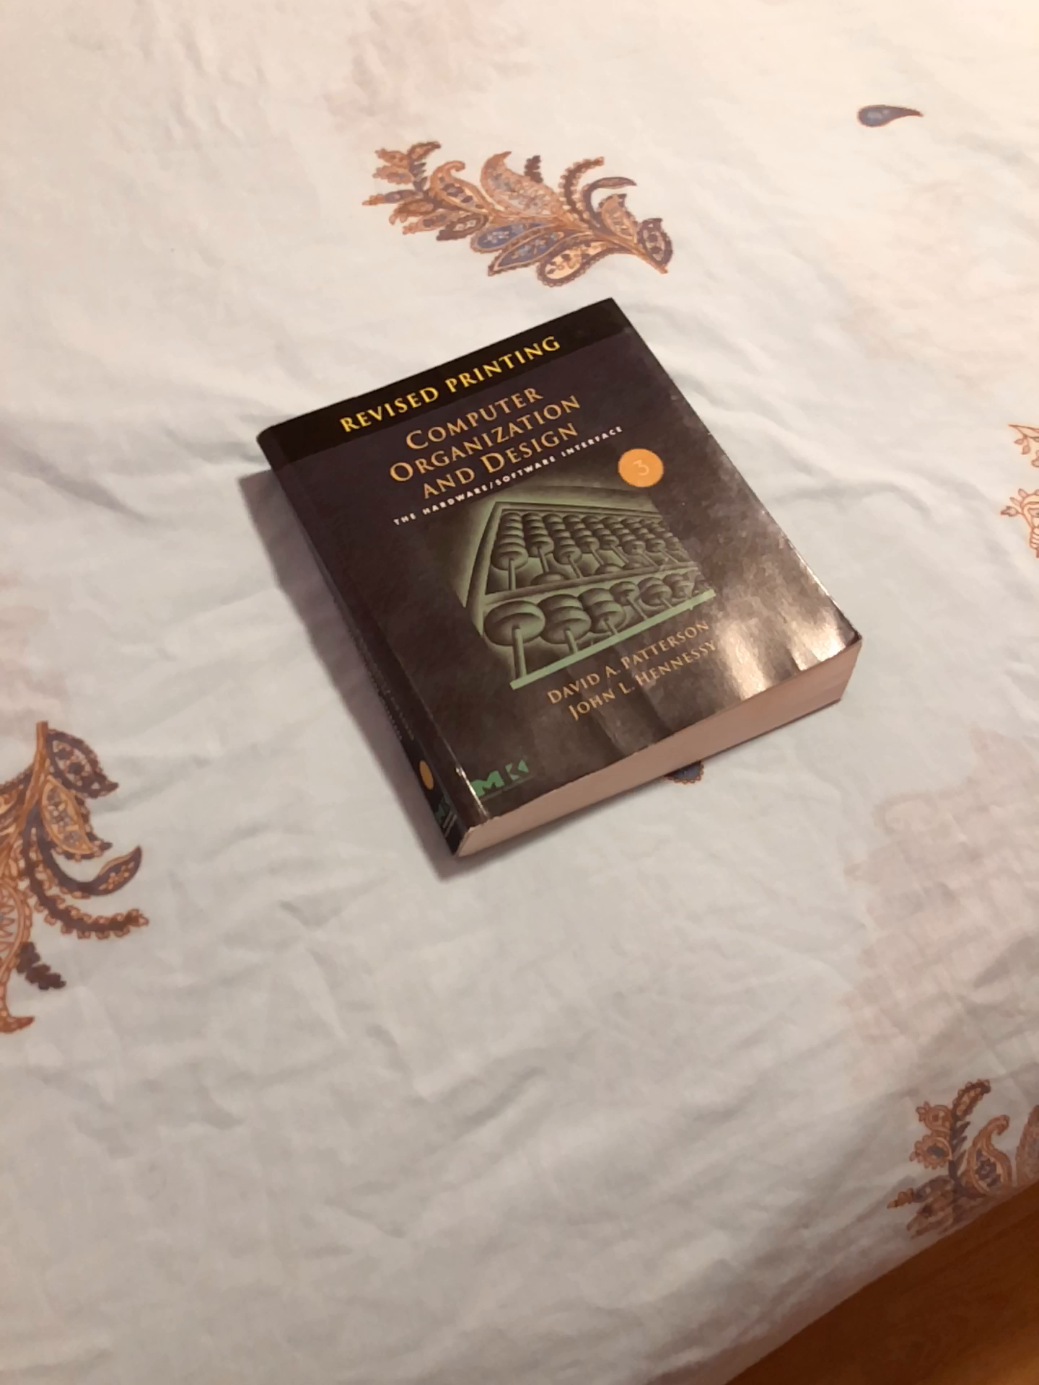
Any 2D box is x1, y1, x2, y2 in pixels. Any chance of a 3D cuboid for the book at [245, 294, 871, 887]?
[{"bbox_3d":[0.011,-0.059,0.550,0.201,0.073,0.225,-24,68,-16],"label":"book"}]
